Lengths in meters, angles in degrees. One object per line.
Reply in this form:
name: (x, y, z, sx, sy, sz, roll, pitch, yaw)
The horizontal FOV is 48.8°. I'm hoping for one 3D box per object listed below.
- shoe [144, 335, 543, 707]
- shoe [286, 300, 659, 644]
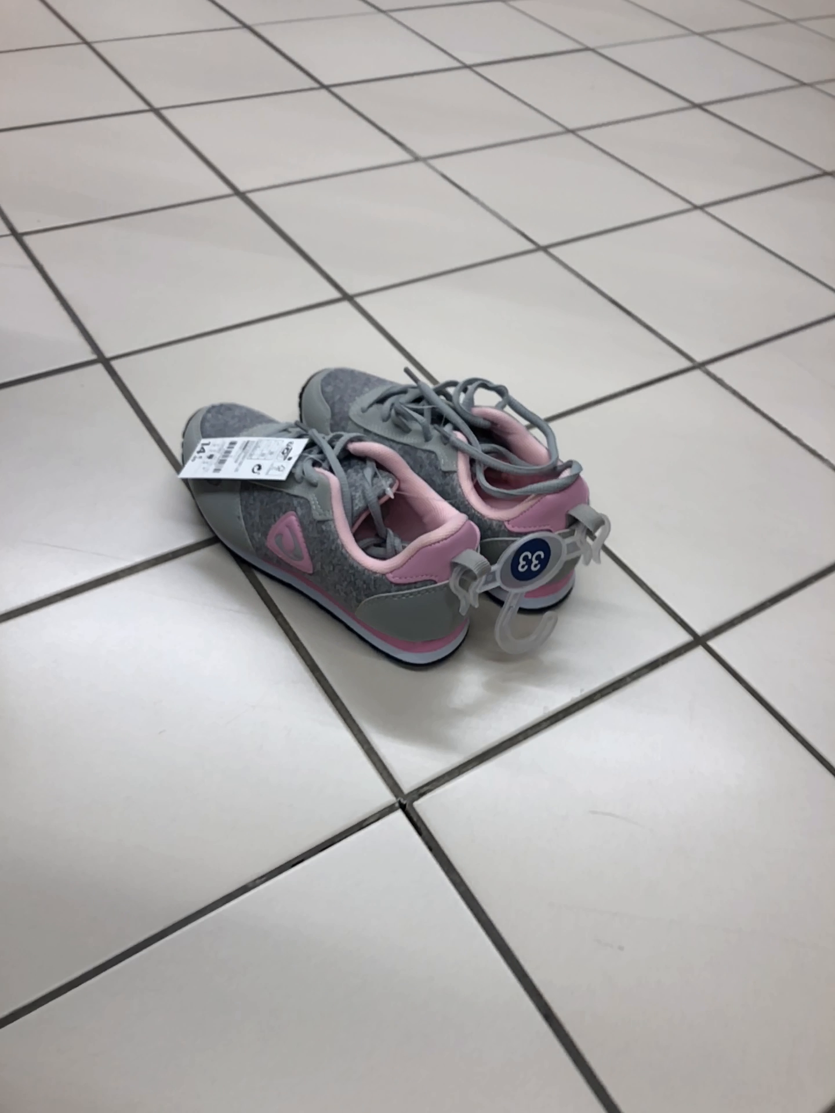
shoe: (-0.047, -0.028, 0.514, 0.214, 0.083, 0.082, 35, 52, 25)
shoe: (0.023, -0.058, 0.552, 0.214, 0.083, 0.082, 38, 53, 26)
